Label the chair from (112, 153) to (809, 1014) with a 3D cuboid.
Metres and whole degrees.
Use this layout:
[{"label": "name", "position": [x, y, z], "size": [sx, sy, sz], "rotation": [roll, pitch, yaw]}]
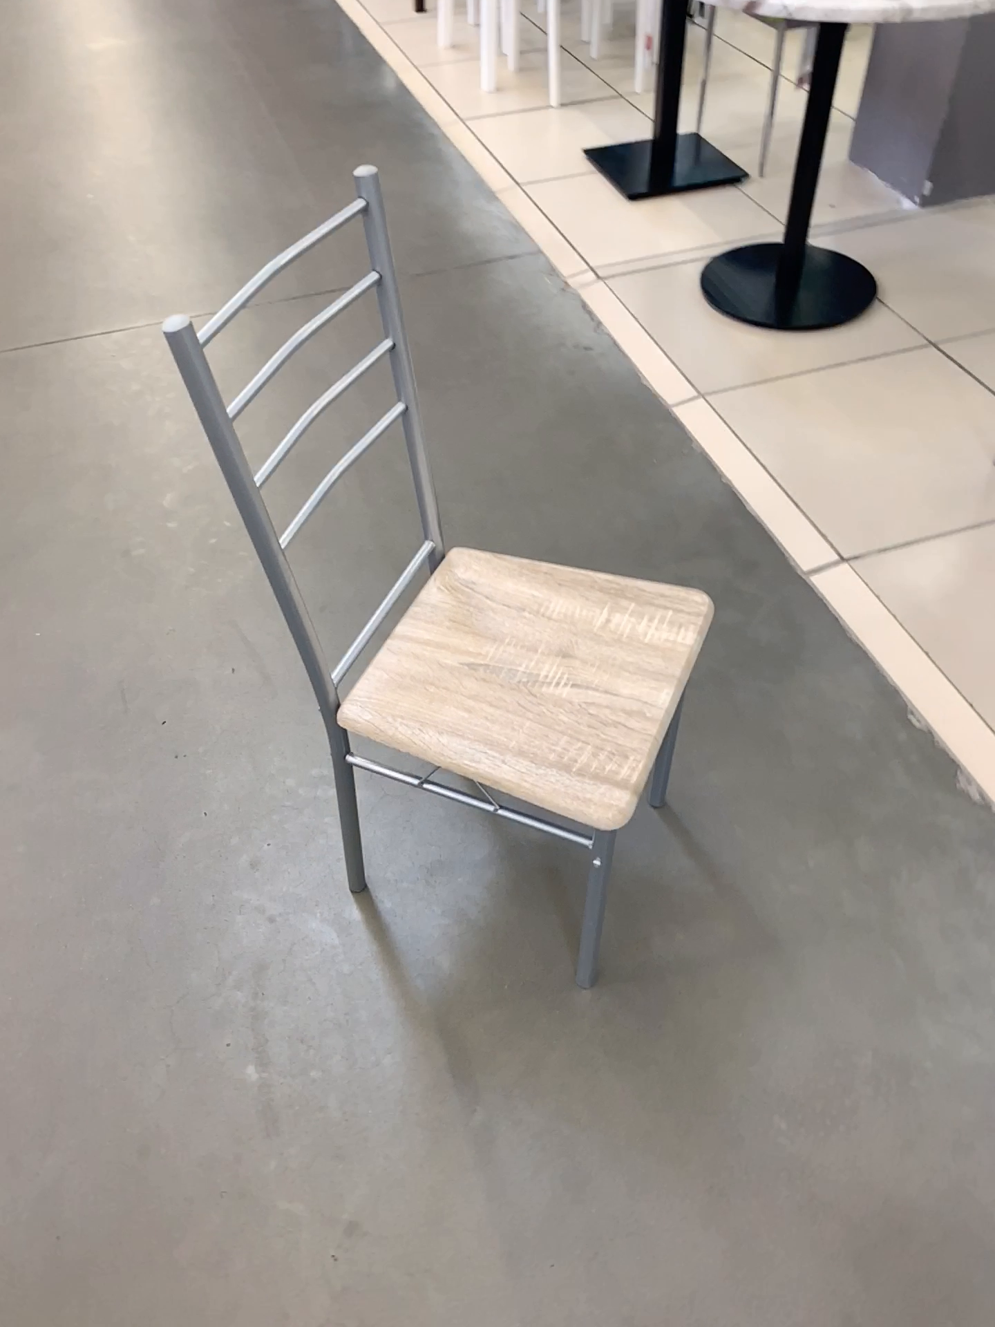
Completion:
[{"label": "chair", "position": [0.000, -0.049, 1.173], "size": [0.471, 0.836, 0.411], "rotation": [17, 49, 18]}]
